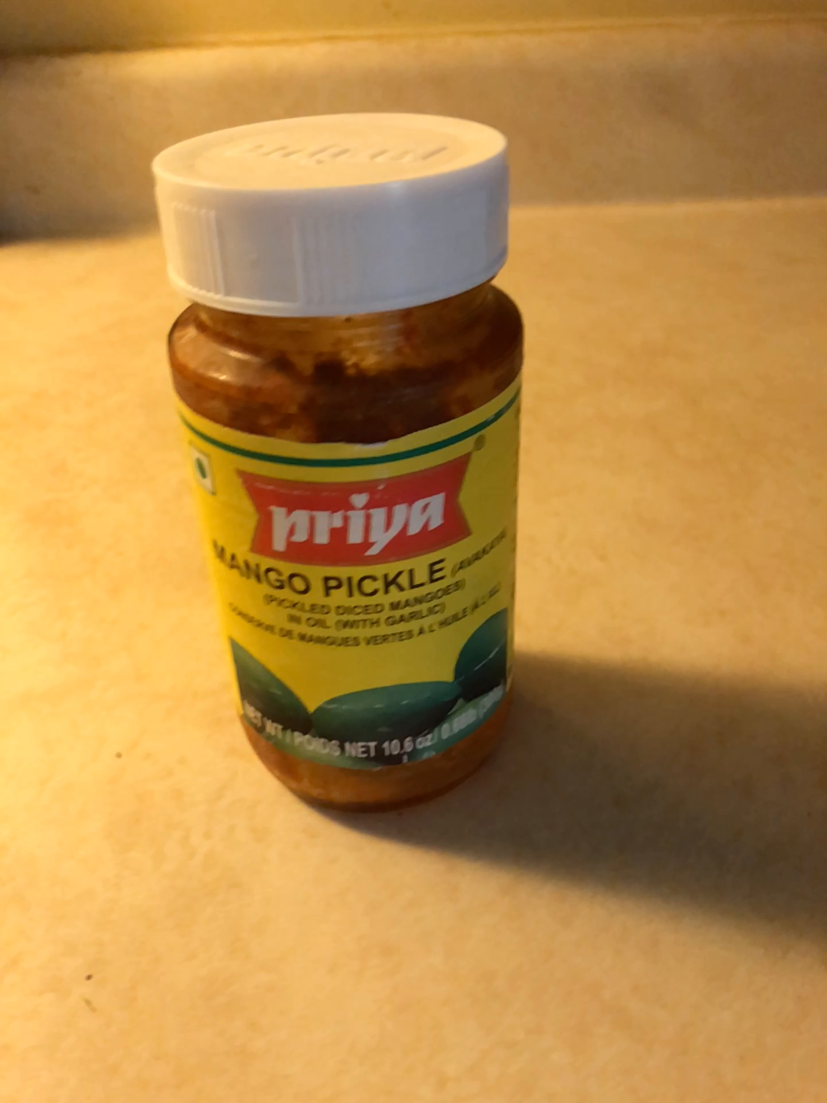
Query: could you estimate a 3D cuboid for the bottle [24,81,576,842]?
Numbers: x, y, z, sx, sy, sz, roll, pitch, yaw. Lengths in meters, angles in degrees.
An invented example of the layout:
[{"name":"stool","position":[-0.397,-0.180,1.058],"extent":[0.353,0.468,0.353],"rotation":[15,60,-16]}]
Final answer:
[{"name":"bottle","position":[-0.011,-0.012,0.178],"extent":[0.070,0.130,0.060],"rotation":[0,34,3]}]
